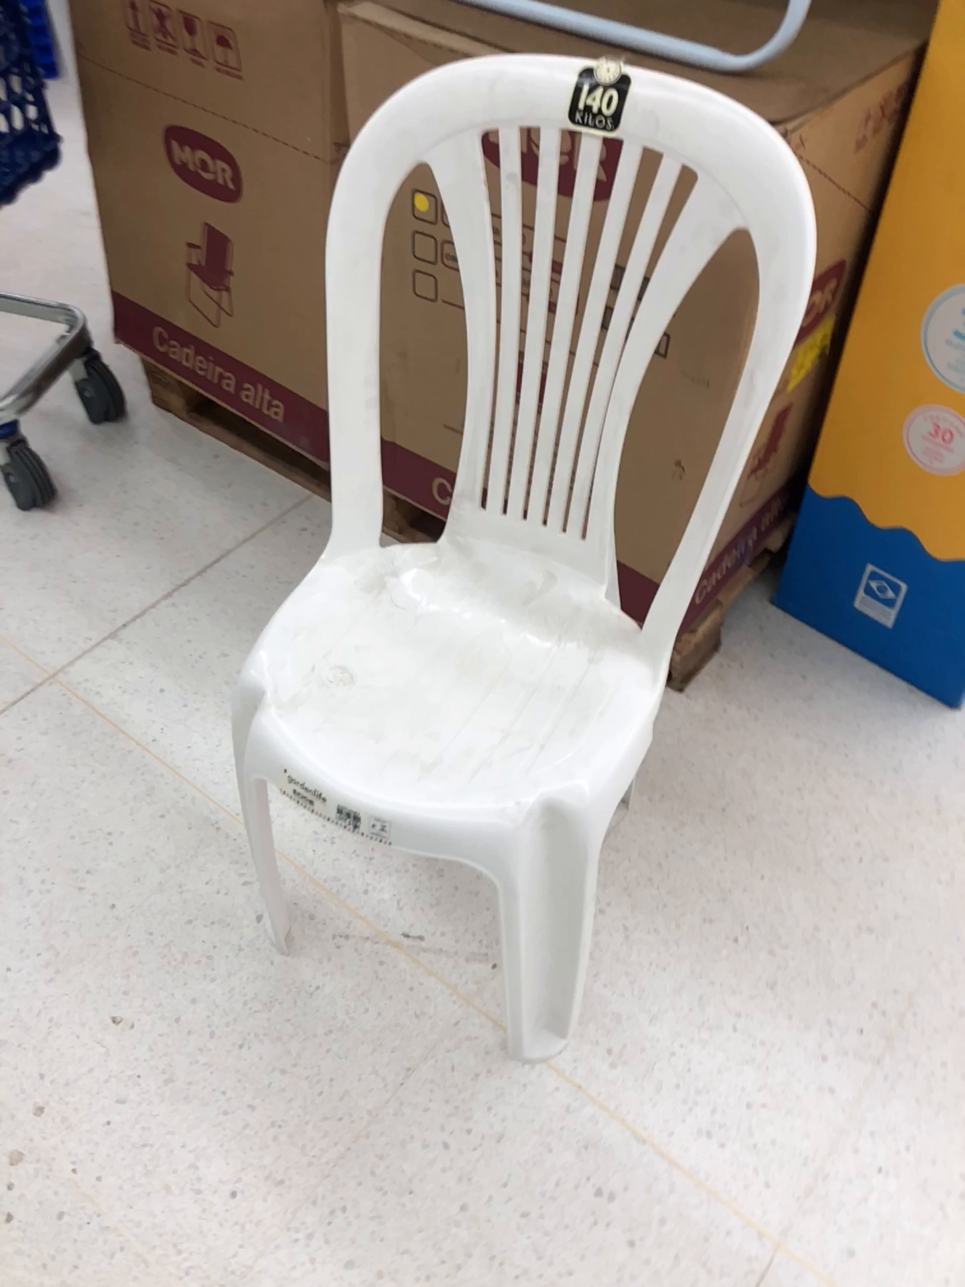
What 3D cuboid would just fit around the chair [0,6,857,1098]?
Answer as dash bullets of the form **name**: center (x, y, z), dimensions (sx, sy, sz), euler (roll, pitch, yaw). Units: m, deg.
- **chair**: center (-0.015, -0.036, 0.994), dimensions (0.440, 0.834, 0.463), euler (17, 49, 16)
